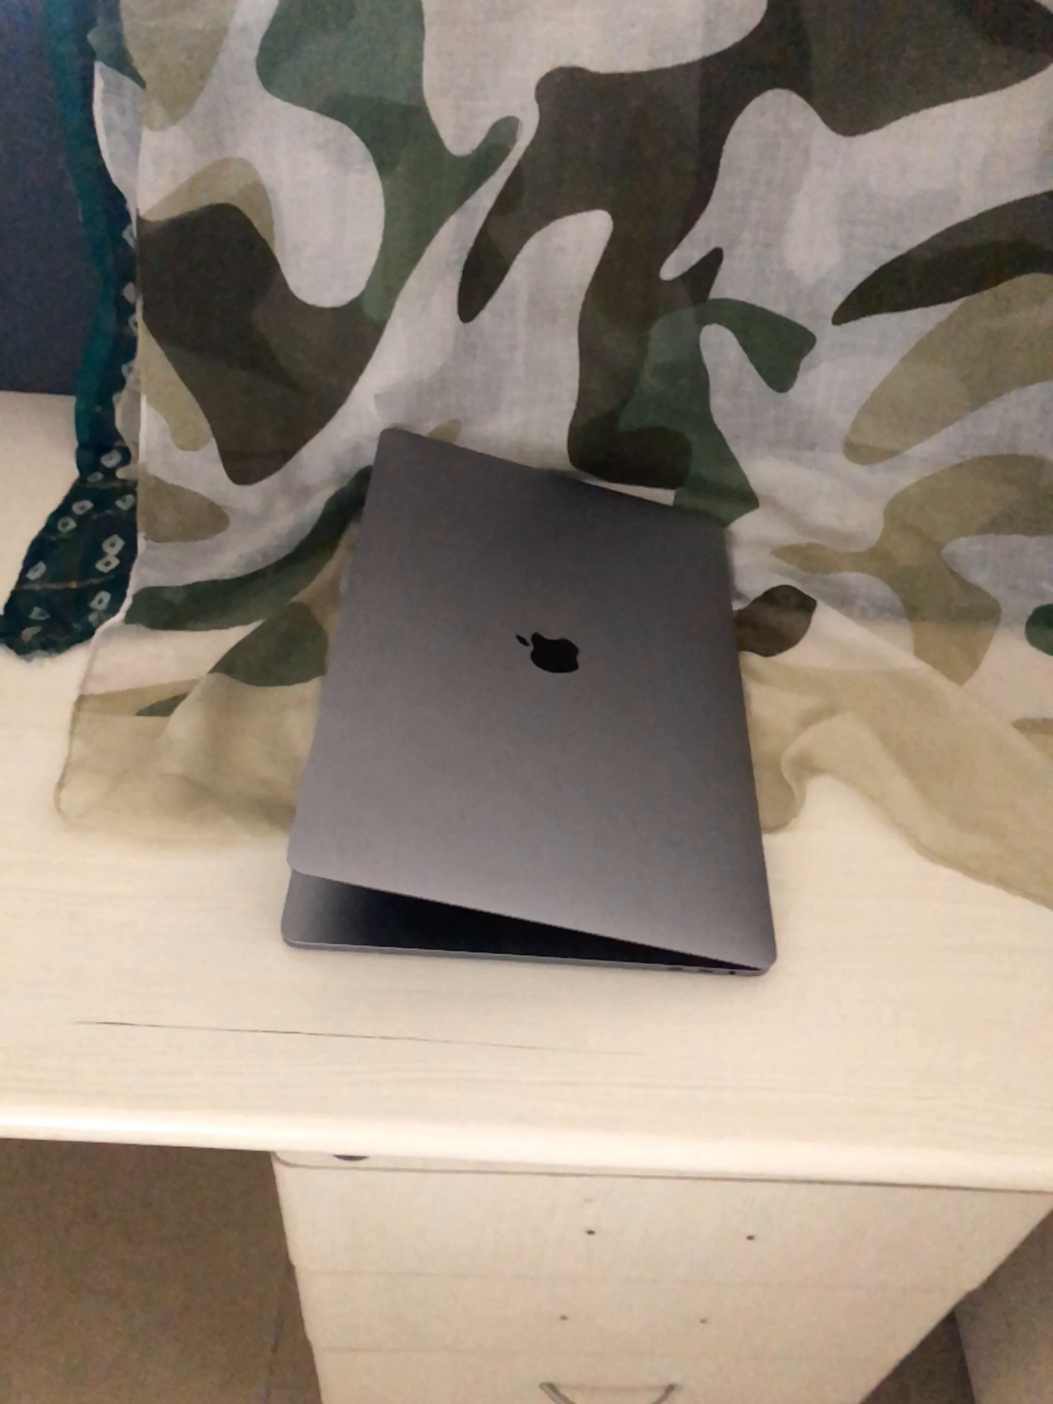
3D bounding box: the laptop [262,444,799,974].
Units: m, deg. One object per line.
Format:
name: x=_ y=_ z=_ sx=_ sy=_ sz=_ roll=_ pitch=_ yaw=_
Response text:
laptop: x=0.009 y=-0.019 z=0.651 sx=0.236 sy=0.058 sz=0.340 roll=4 pitch=45 yaw=0
